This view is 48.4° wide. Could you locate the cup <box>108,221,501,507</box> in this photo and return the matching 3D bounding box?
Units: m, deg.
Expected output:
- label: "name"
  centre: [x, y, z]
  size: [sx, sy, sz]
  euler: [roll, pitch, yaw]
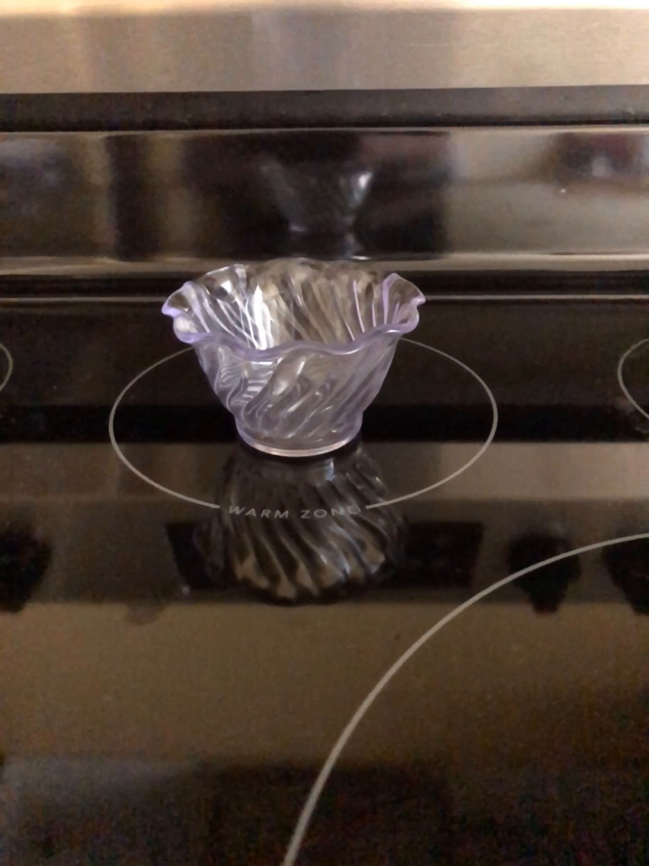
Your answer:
- label: "cup"
  centre: [-0.009, -0.036, 0.272]
  size: [0.101, 0.052, 0.100]
  euler: [-1, 30, 1]
